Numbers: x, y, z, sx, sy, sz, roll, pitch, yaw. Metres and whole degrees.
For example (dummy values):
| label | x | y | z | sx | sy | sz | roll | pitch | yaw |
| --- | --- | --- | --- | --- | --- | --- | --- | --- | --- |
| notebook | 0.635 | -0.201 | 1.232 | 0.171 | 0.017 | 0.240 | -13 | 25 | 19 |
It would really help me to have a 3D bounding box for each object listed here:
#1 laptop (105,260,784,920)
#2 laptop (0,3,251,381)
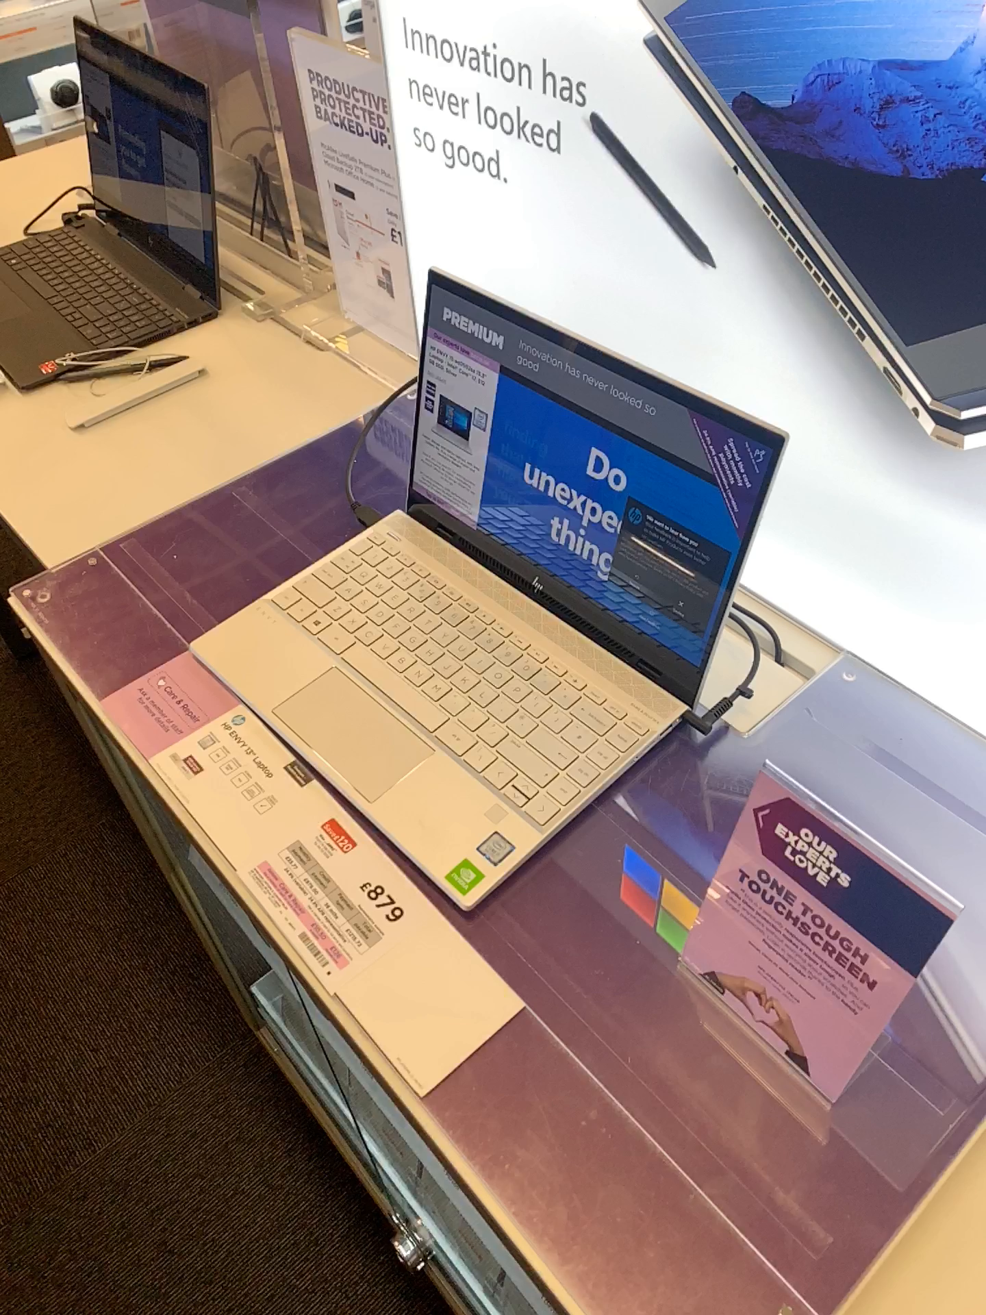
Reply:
| label | x | y | z | sx | sy | sz | roll | pitch | yaw |
| --- | --- | --- | --- | --- | --- | --- | --- | --- | --- |
| laptop | -0.030 | -0.065 | 0.637 | 0.261 | 0.181 | 0.296 | -37 | 55 | -25 |
| laptop | -0.534 | -0.566 | 1.209 | 0.313 | 0.236 | 0.300 | -36 | 57 | -25 |
